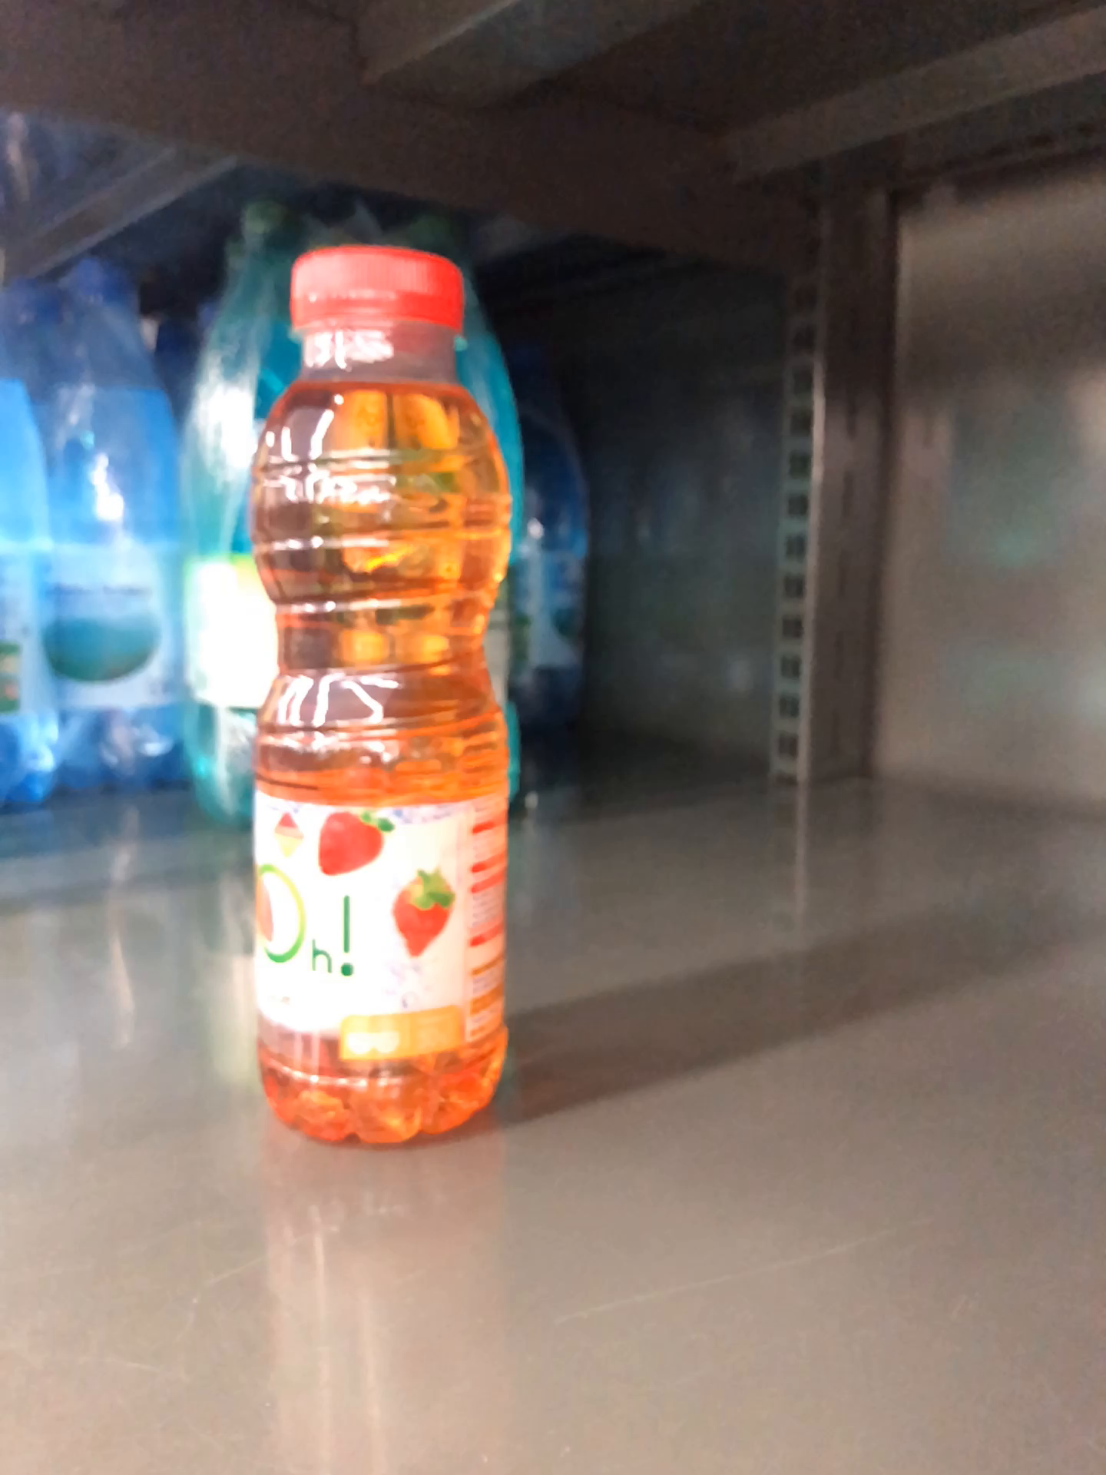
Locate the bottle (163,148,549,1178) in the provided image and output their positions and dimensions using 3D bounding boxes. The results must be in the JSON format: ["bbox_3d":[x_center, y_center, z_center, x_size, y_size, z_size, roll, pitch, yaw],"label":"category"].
[{"bbox_3d":[-0.048,-0.016,0.299,0.060,0.210,0.070,-5,10,-40],"label":"bottle"}]
